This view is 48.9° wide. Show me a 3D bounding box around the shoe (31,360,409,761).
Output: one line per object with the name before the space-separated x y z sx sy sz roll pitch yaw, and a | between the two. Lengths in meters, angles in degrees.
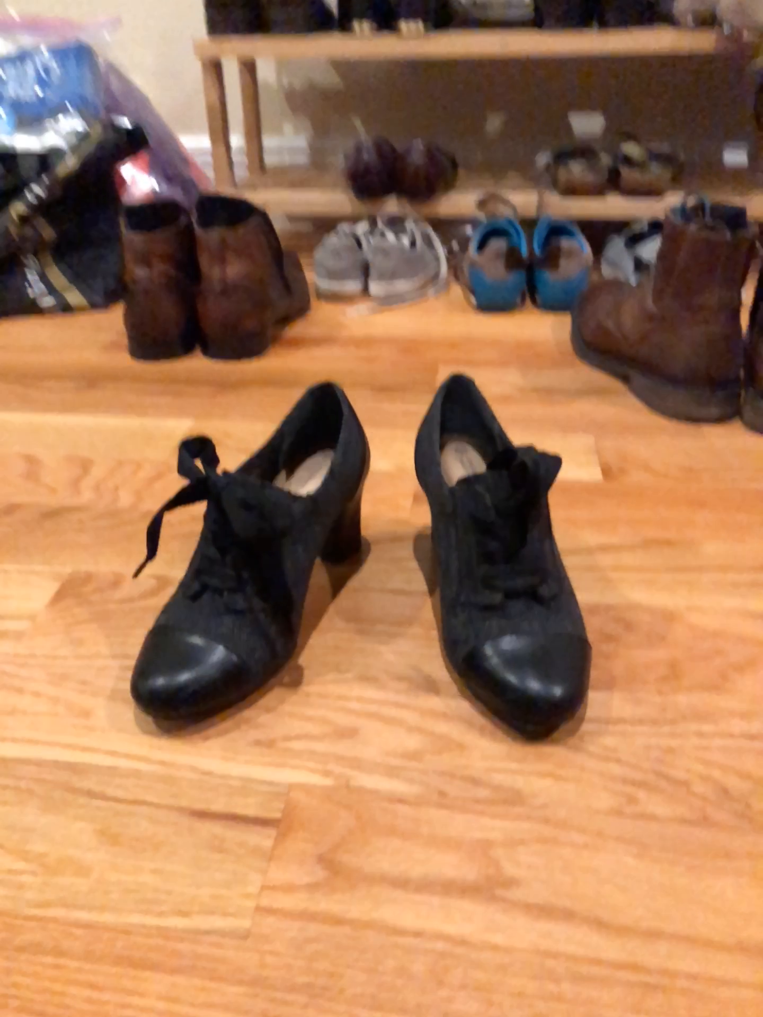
shoe | -0.075 0.014 0.502 0.093 0.125 0.224 14 34 24

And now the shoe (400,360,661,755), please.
shoe | 0.070 0.013 0.498 0.088 0.125 0.224 -4 31 -5
